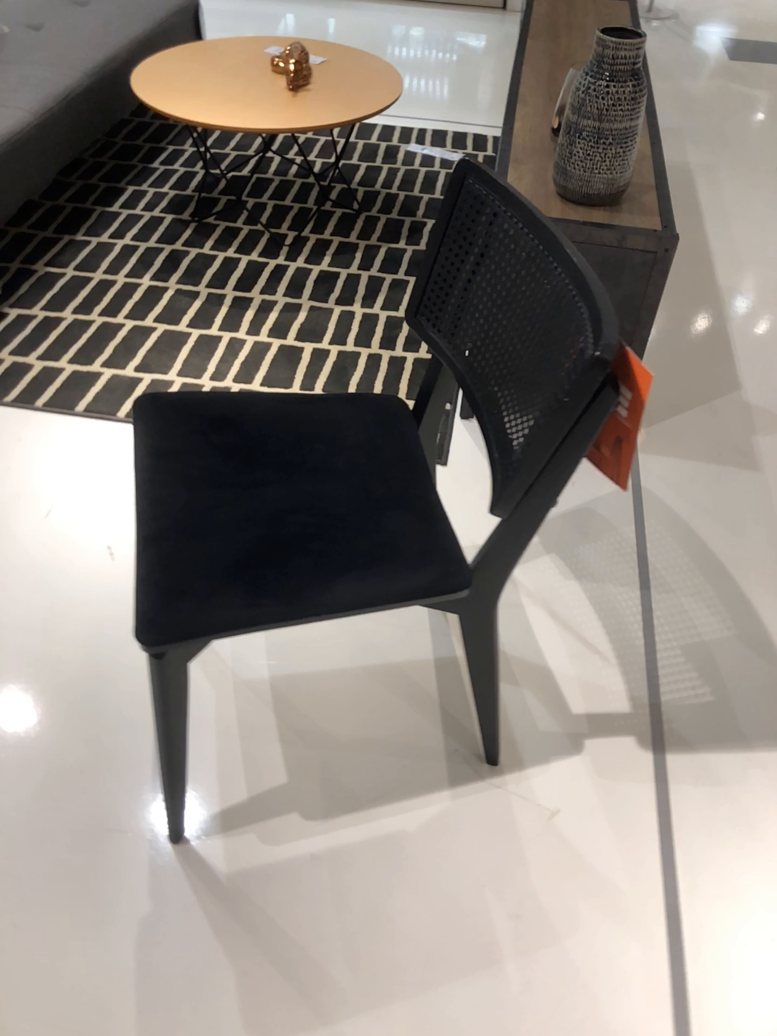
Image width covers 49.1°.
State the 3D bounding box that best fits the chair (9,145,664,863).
[{"bbox_3d":[-0.096,-0.010,1.149,0.550,0.744,0.534,-7,45,-11],"label":"chair"}]
